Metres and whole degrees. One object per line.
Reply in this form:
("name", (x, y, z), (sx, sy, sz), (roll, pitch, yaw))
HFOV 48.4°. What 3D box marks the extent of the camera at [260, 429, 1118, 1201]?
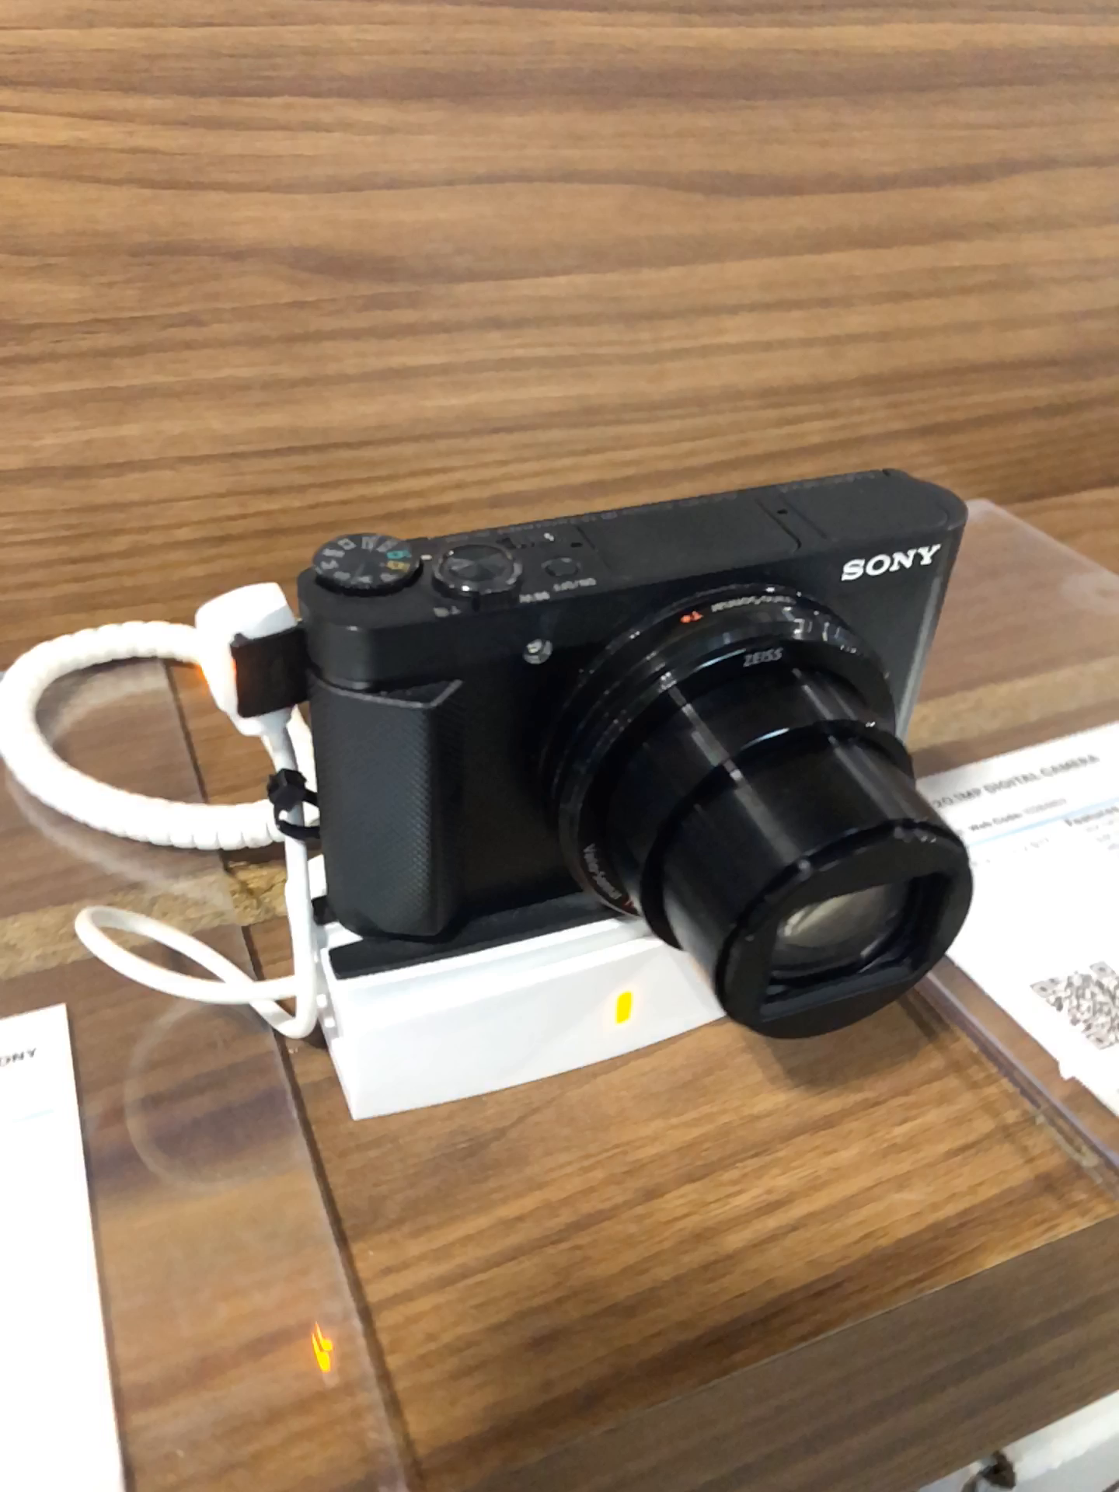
("camera", (0.017, 0.003, 0.179), (0.100, 0.070, 0.060), (-12, 32, -19))
